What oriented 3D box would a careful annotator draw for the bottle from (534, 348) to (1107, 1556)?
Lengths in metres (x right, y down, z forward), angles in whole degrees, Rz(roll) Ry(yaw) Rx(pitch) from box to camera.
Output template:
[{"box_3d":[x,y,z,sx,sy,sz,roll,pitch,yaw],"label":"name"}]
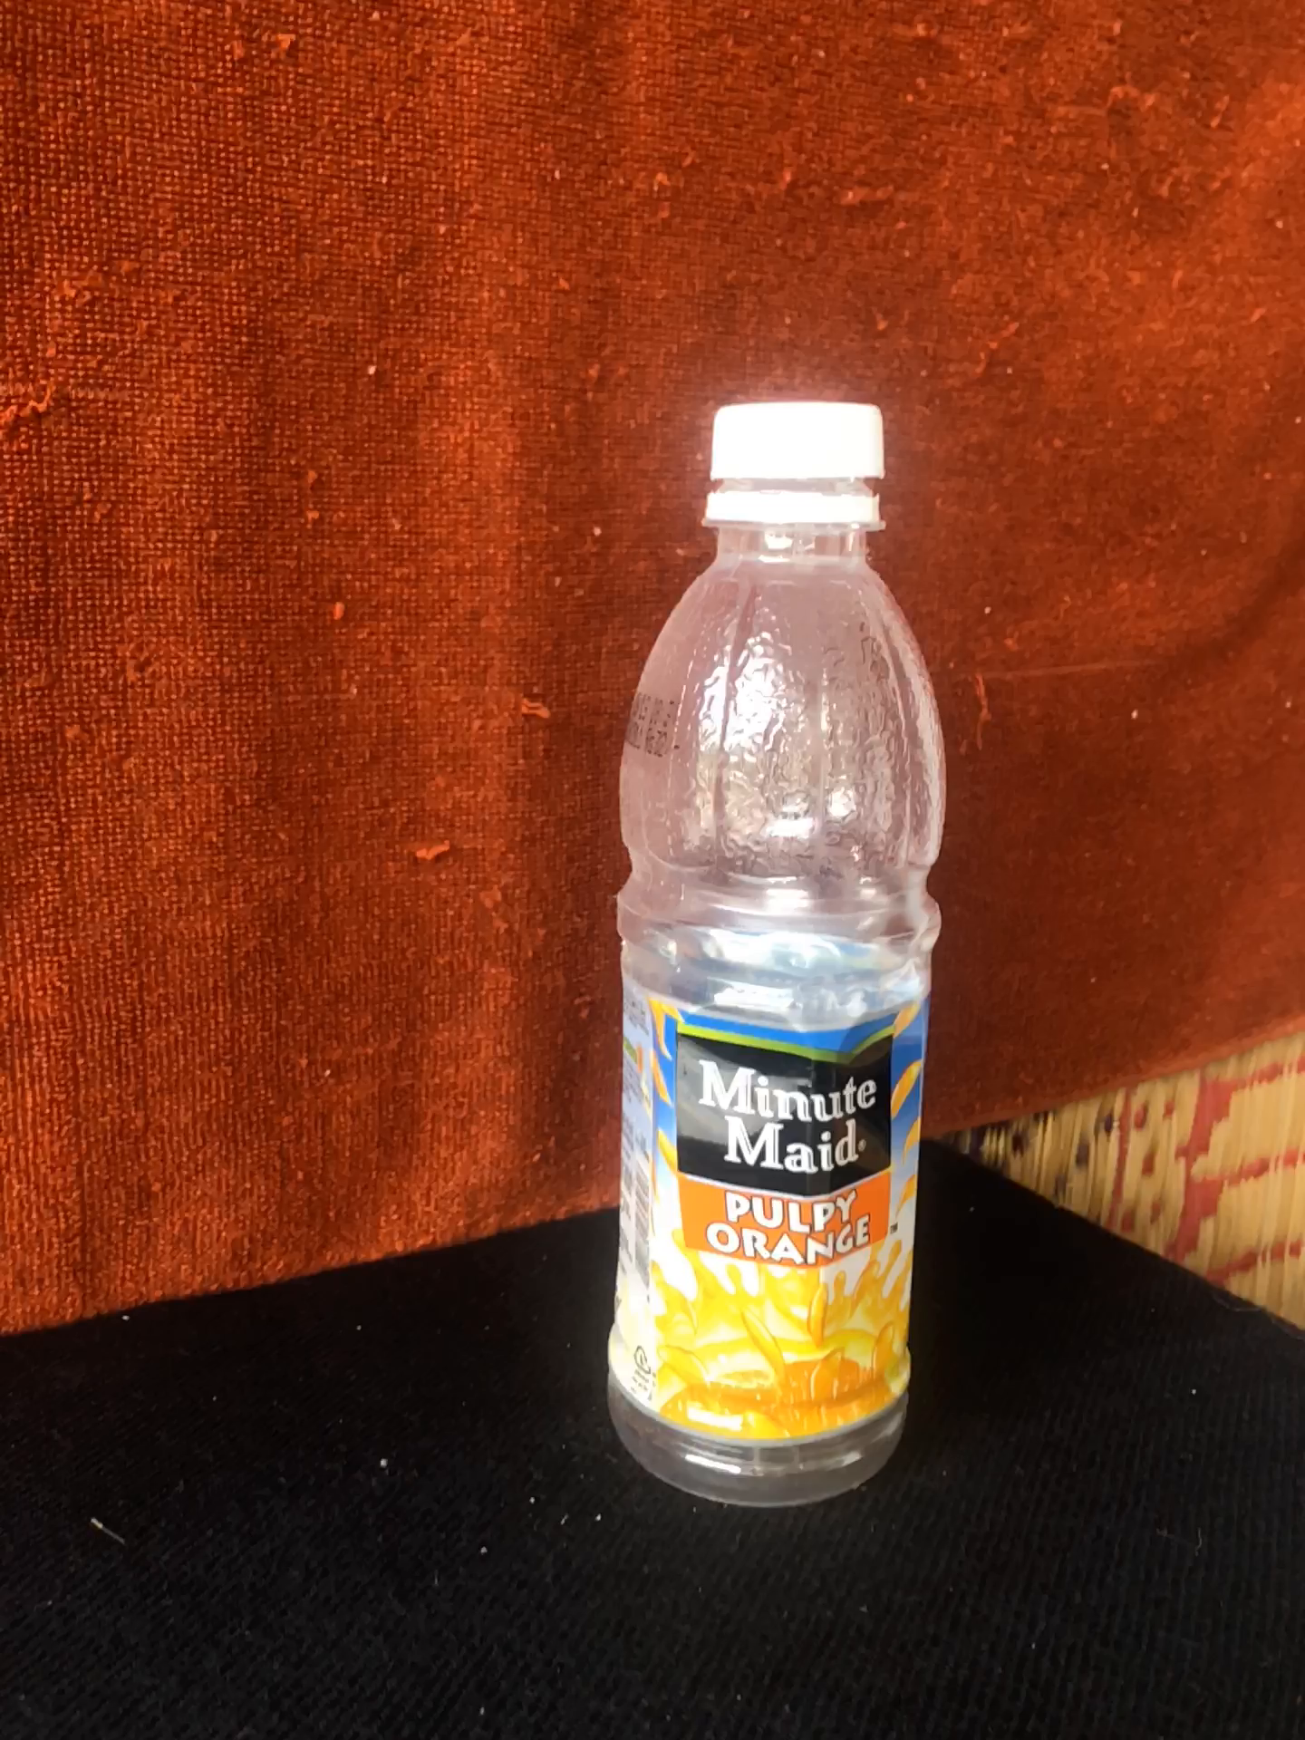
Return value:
[{"box_3d":[0.022,0.014,0.273,0.070,0.199,0.070,4,12,-1],"label":"bottle"}]
